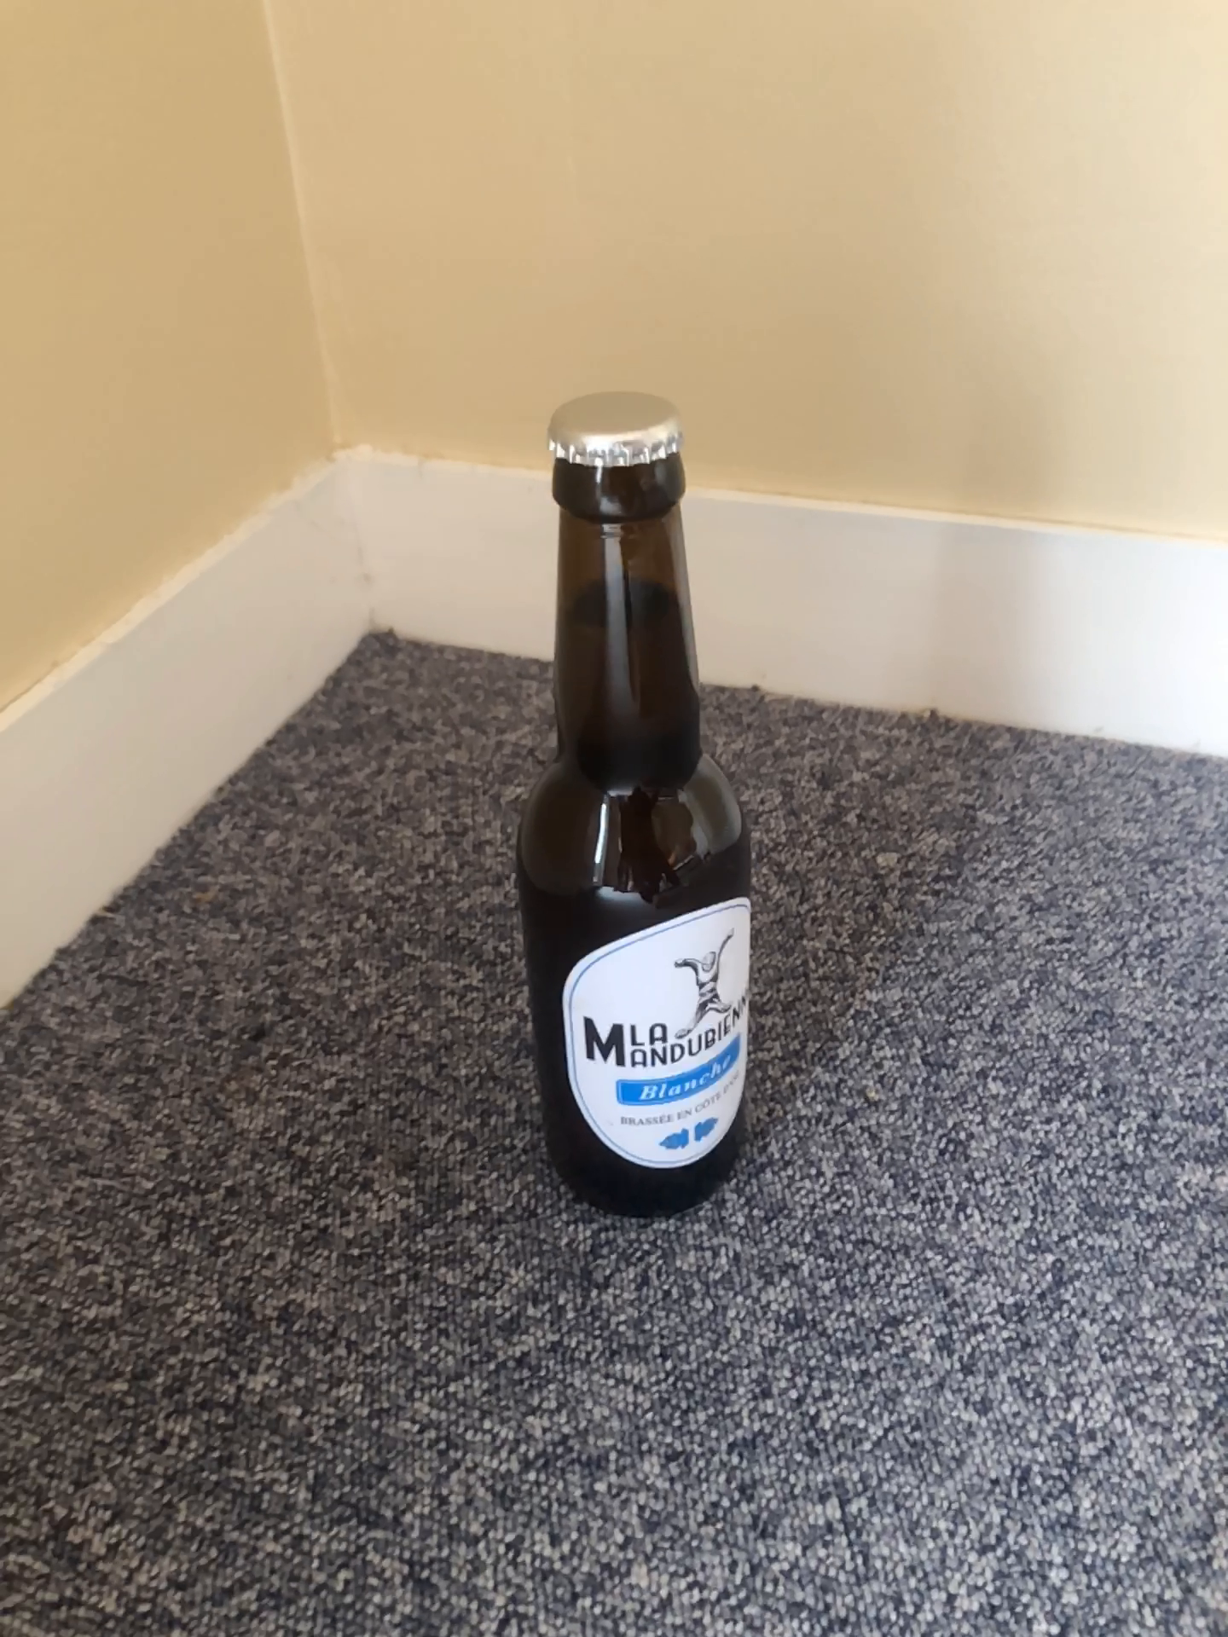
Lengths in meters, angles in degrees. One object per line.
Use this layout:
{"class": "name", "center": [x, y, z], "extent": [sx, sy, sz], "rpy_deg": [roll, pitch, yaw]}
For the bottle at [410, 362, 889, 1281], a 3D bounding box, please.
{"class": "bottle", "center": [0.009, 0.009, 0.332], "extent": [0.070, 0.209, 0.070], "rpy_deg": [-2, 37, 1]}
